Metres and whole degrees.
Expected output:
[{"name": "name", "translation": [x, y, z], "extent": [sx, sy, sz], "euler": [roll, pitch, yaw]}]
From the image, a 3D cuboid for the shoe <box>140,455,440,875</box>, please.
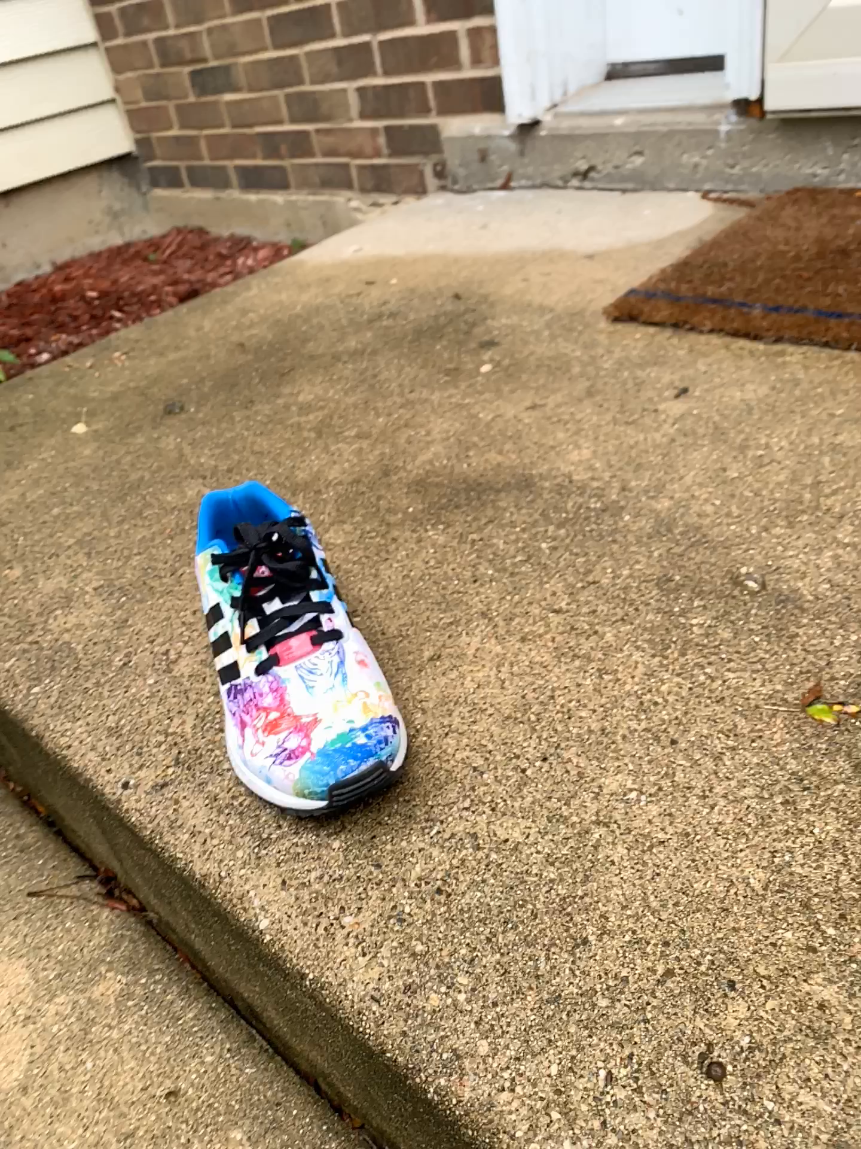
[{"name": "shoe", "translation": [-0.096, 0.036, 0.544], "extent": [0.110, 0.104, 0.247], "euler": [-19, 35, -11]}]
